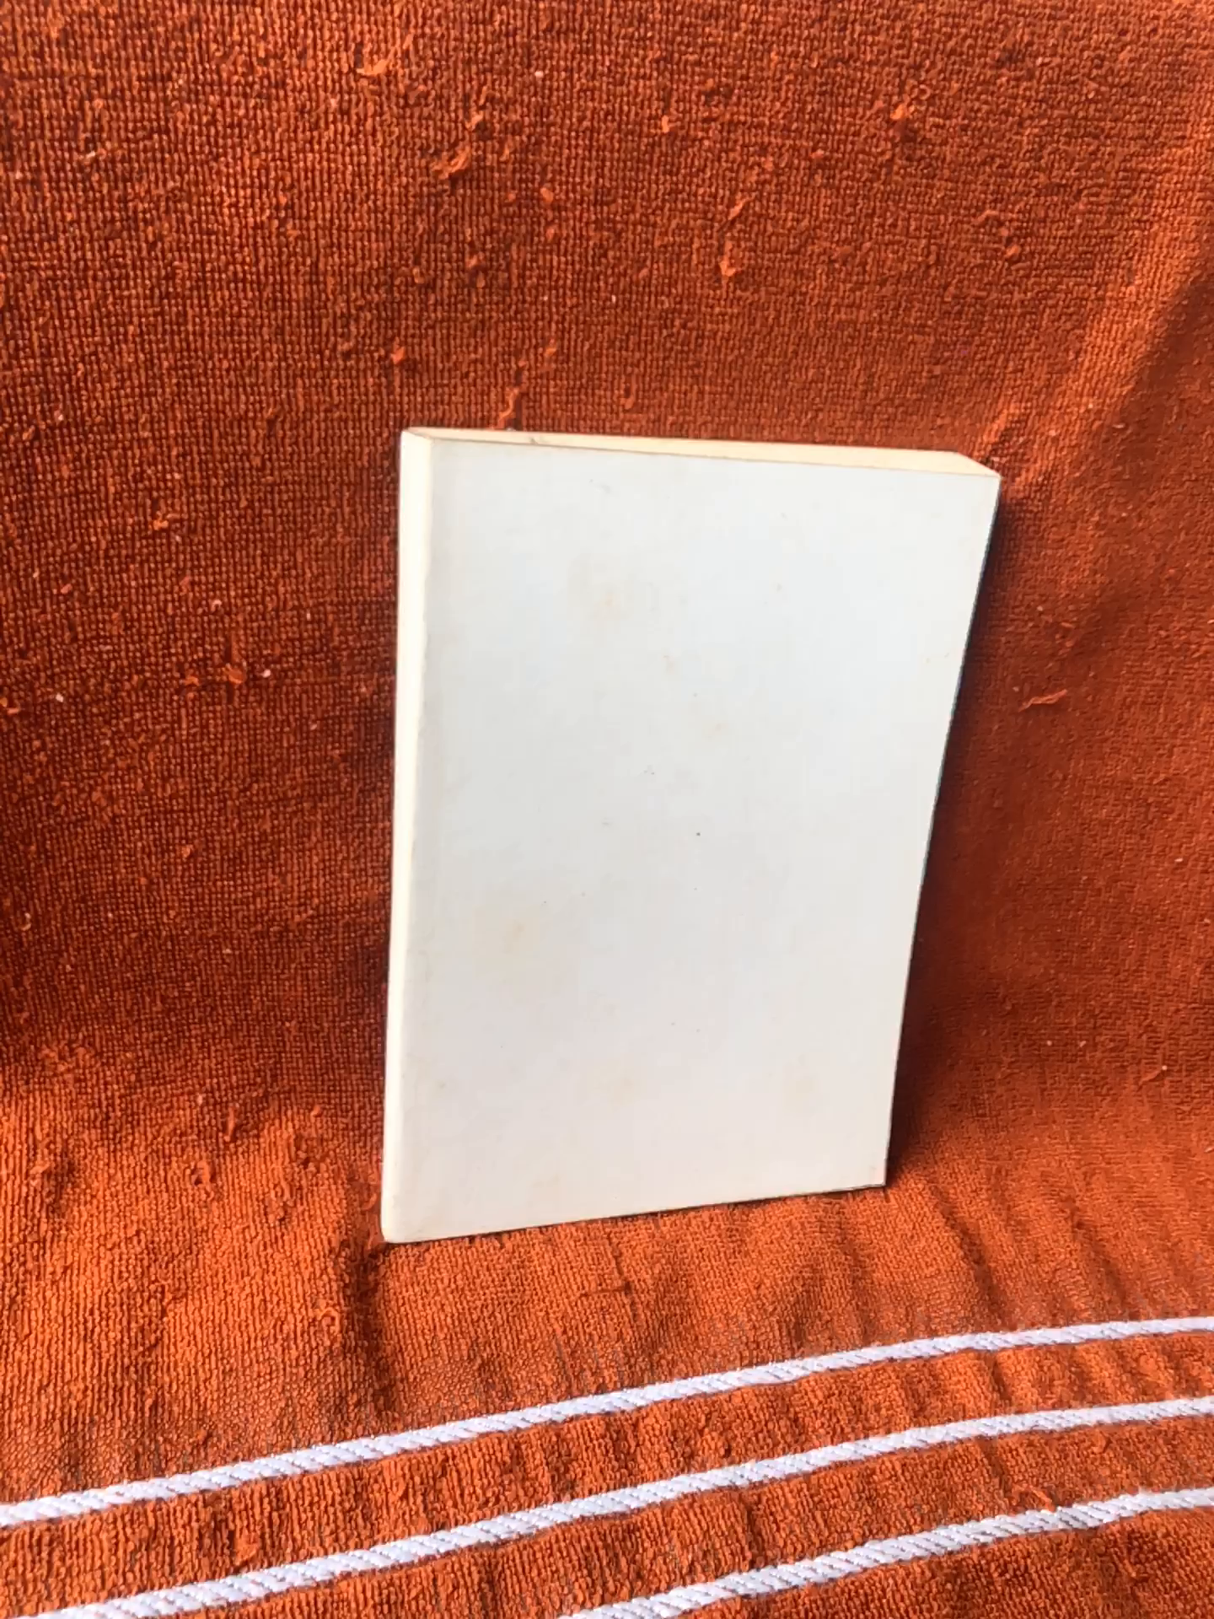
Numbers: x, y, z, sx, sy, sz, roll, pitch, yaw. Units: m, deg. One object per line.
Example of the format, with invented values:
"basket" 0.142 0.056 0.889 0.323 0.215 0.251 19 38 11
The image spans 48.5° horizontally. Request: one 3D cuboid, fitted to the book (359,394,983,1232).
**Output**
"book" 0.015 0.003 0.354 0.150 0.200 0.030 0 11 -19
